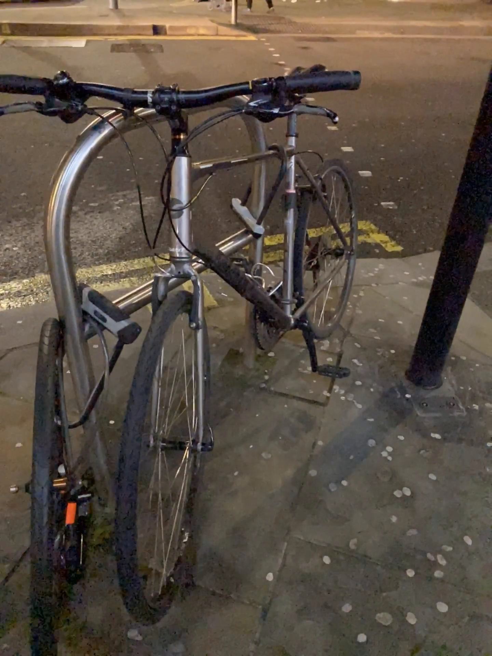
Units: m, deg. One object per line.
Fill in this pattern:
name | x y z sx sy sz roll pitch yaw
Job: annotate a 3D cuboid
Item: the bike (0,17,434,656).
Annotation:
bike | -0.019 -0.220 1.497 0.709 1.124 1.829 14 37 17
